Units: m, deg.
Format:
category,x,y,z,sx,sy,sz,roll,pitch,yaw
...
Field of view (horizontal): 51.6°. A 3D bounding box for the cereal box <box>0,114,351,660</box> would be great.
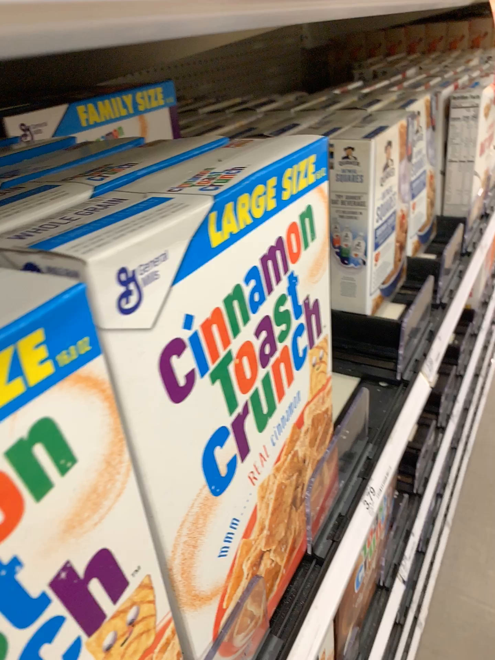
category,x,y,z,sx,sy,sz,roll,pitch,yaw
cereal box,-0.007,0.047,0.298,0.070,0.289,0.191,11,34,29
